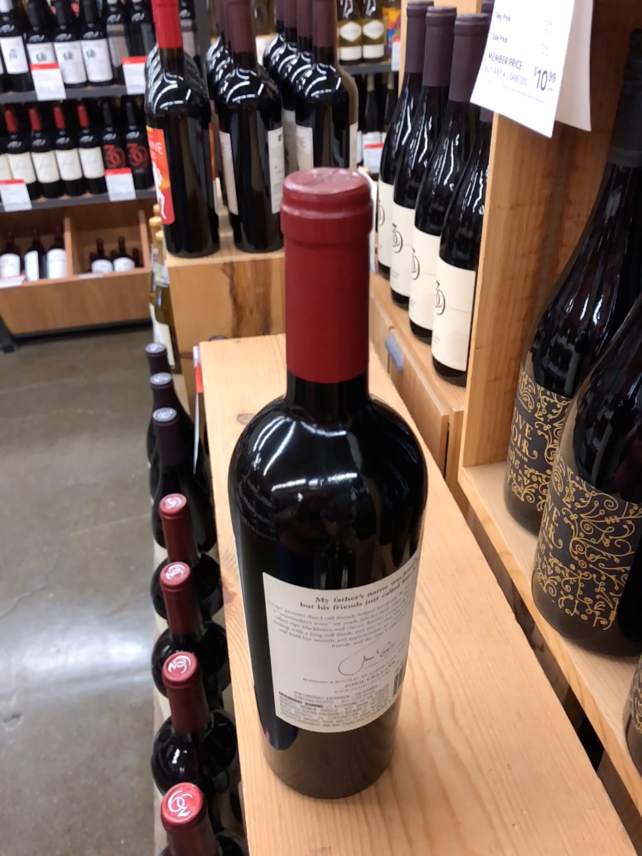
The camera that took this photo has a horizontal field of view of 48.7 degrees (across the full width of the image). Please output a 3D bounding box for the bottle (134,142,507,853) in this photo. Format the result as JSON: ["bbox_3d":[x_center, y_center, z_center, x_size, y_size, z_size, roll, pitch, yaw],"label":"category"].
[{"bbox_3d":[0.004,0.048,0.299,0.080,0.293,0.081,-1,35,1],"label":"bottle"}]
